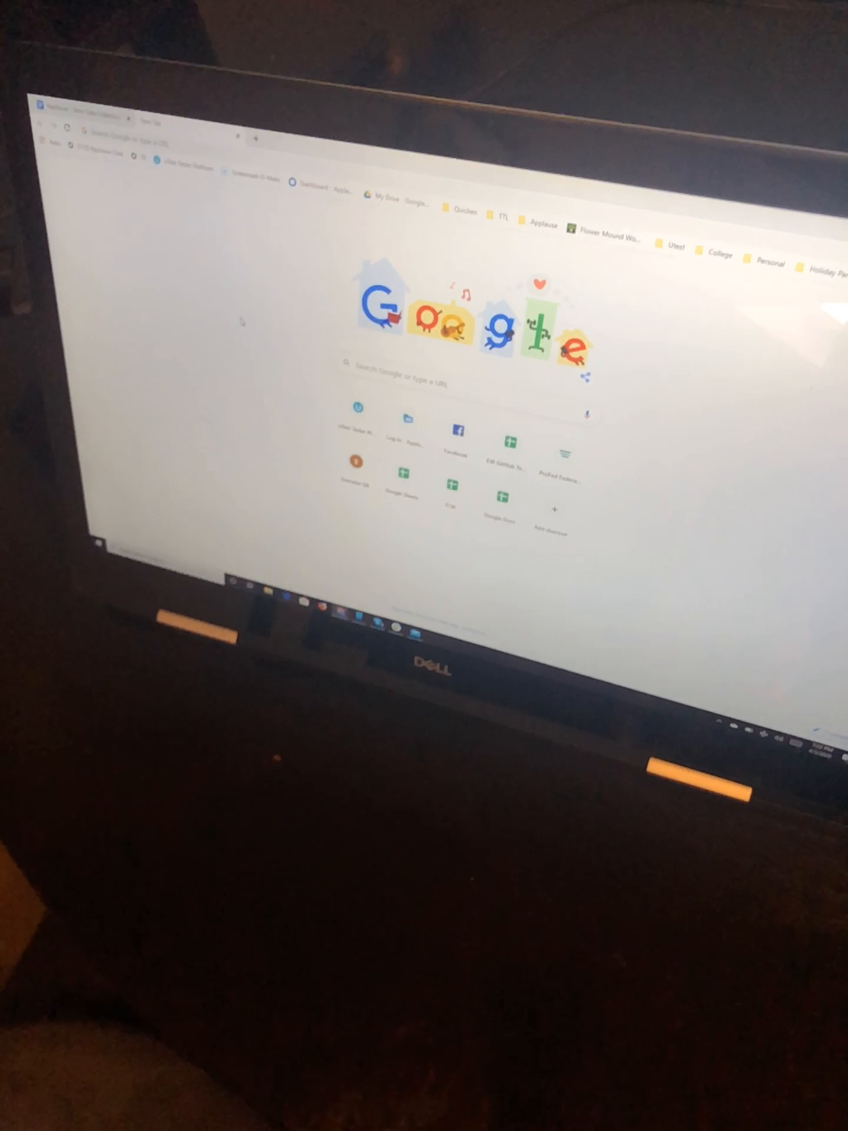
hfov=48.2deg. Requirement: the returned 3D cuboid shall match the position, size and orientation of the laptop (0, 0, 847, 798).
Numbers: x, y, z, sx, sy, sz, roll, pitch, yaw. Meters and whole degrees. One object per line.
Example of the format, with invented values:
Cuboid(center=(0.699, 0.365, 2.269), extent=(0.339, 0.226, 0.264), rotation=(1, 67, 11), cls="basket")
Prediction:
Cuboid(center=(0.038, -0.111, 0.422), extent=(0.419, 0.232, 0.267), rotation=(16, 68, 15), cls="laptop")
